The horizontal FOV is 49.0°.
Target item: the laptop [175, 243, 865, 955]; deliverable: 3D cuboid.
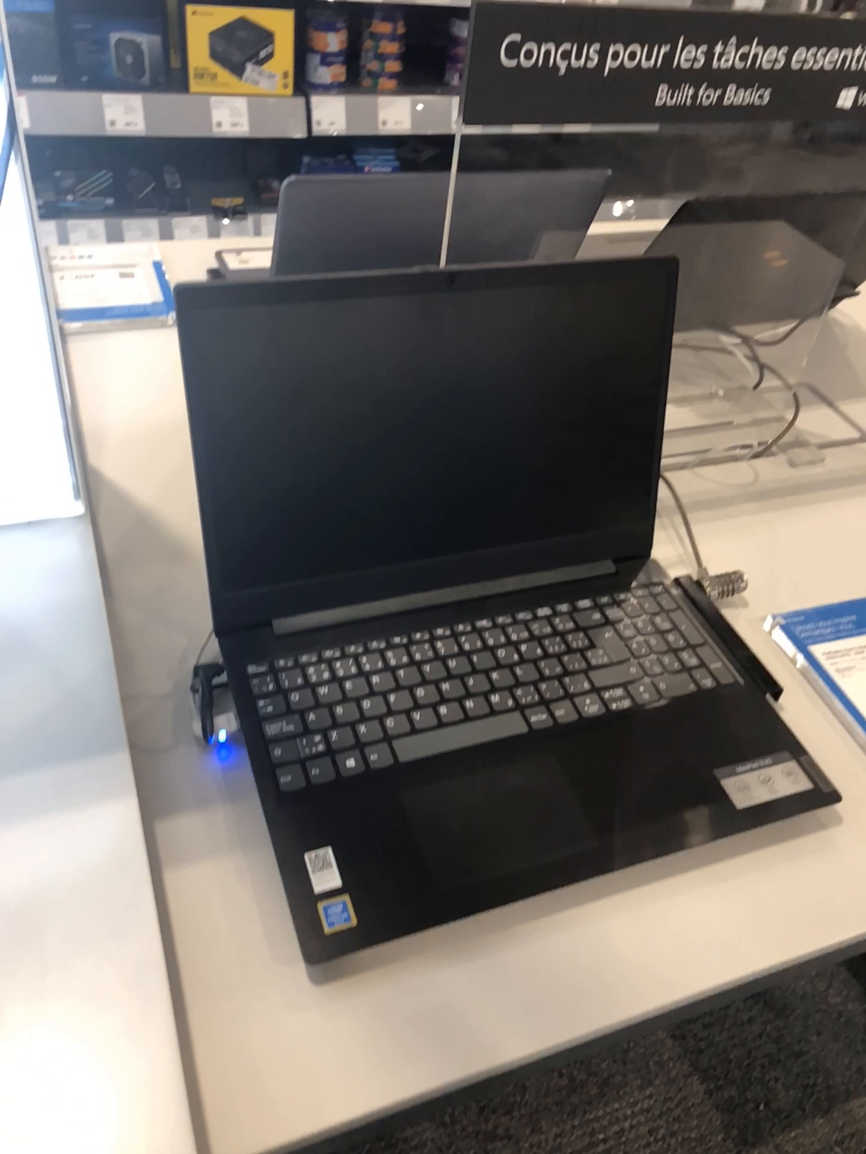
[{"bbox_3d":[0.051,-0.020,0.590,0.346,0.213,0.323,-10,47,-19],"label":"laptop"}]
